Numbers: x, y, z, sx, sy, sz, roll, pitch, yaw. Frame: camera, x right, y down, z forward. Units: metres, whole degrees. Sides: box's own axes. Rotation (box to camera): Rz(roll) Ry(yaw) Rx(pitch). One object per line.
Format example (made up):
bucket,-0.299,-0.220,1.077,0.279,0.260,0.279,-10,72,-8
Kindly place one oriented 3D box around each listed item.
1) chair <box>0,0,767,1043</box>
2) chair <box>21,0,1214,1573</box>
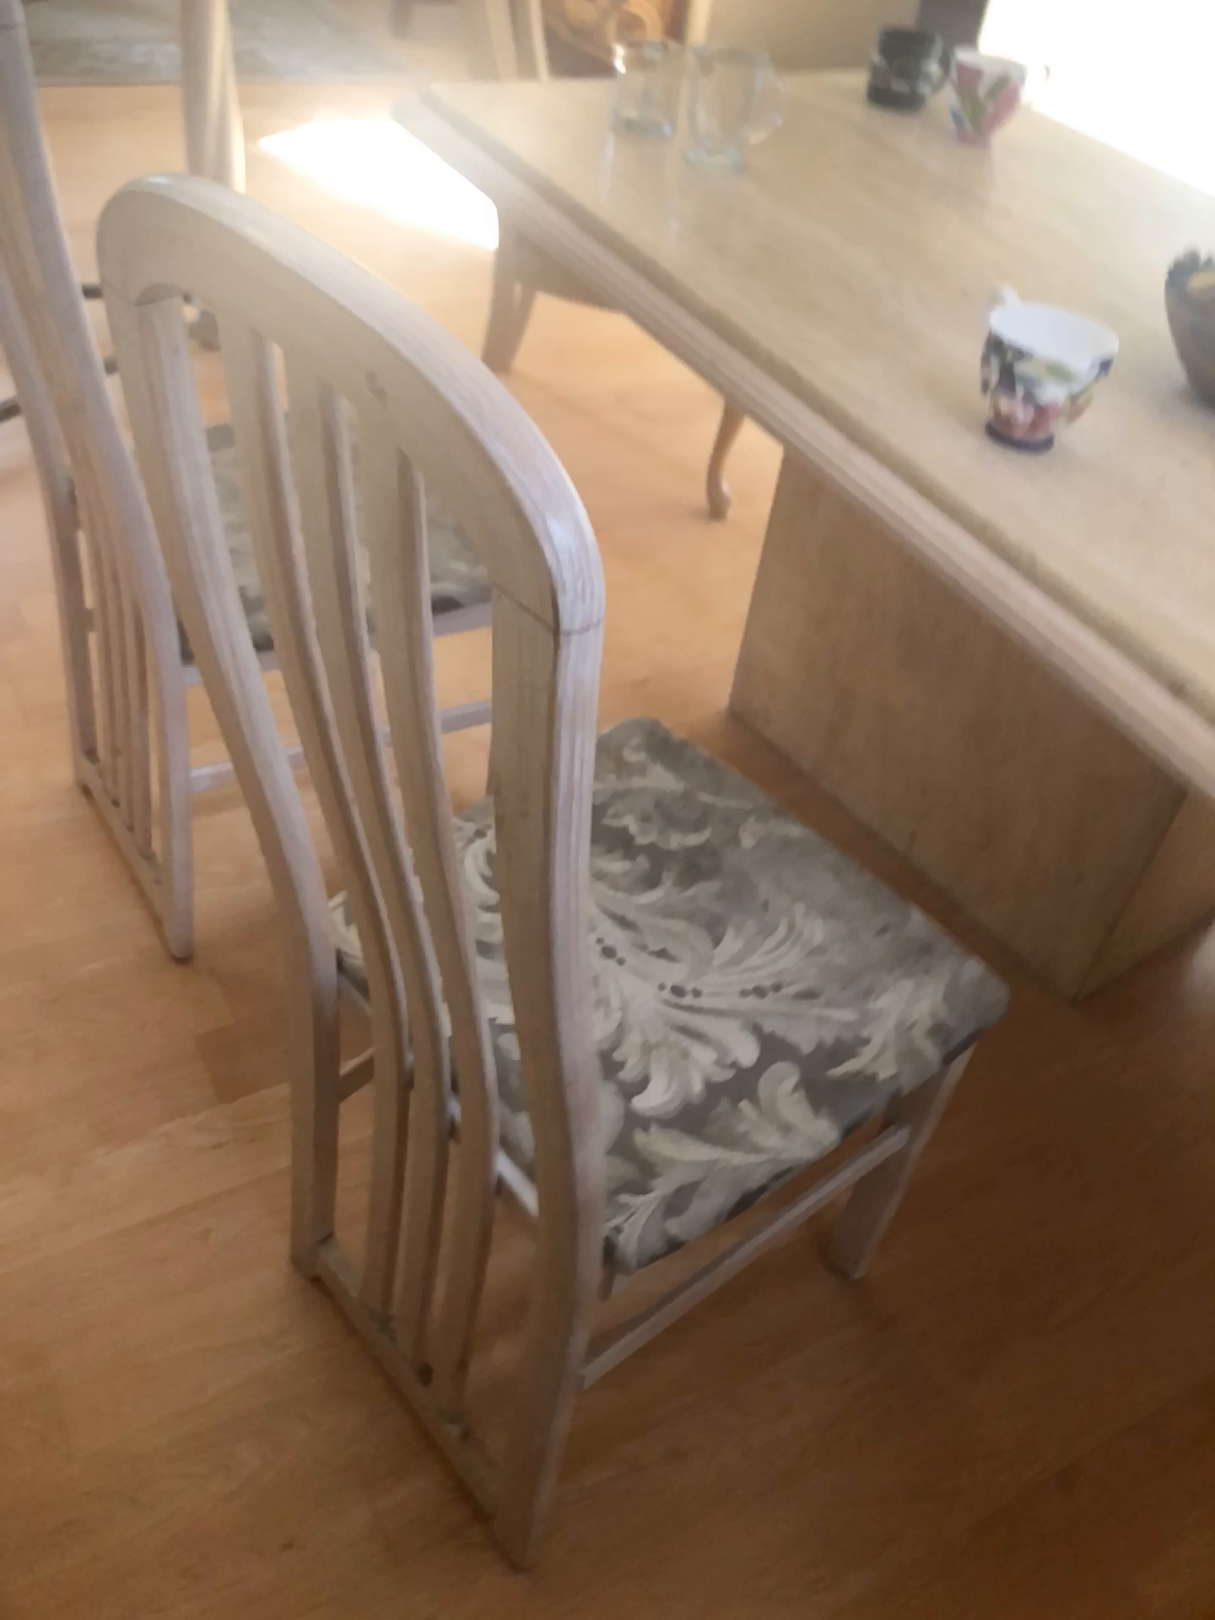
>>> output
chair,-0.299,-0.389,1.403,0.563,1.140,0.482,-20,48,-27
chair,-0.031,0.027,1.120,0.563,1.140,0.482,-22,49,-32
